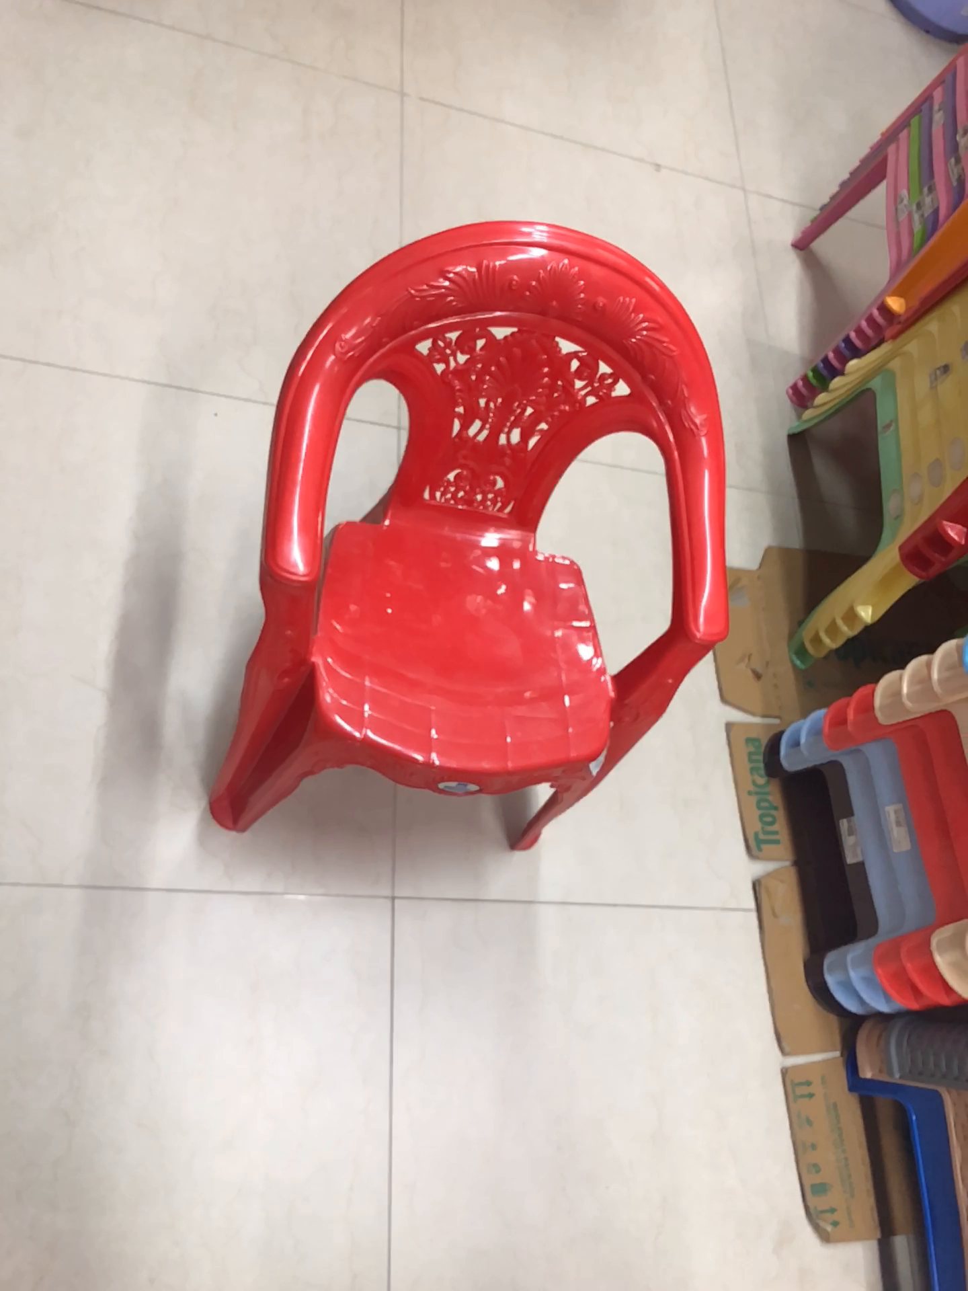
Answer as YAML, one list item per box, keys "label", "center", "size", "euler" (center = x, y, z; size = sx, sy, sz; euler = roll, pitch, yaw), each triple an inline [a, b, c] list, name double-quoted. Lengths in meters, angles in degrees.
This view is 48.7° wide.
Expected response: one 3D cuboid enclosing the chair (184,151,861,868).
- label: "chair"
  center: [-0.022, -0.049, 0.937]
  size: [0.390, 0.508, 0.371]
  euler: [7, 66, -18]
